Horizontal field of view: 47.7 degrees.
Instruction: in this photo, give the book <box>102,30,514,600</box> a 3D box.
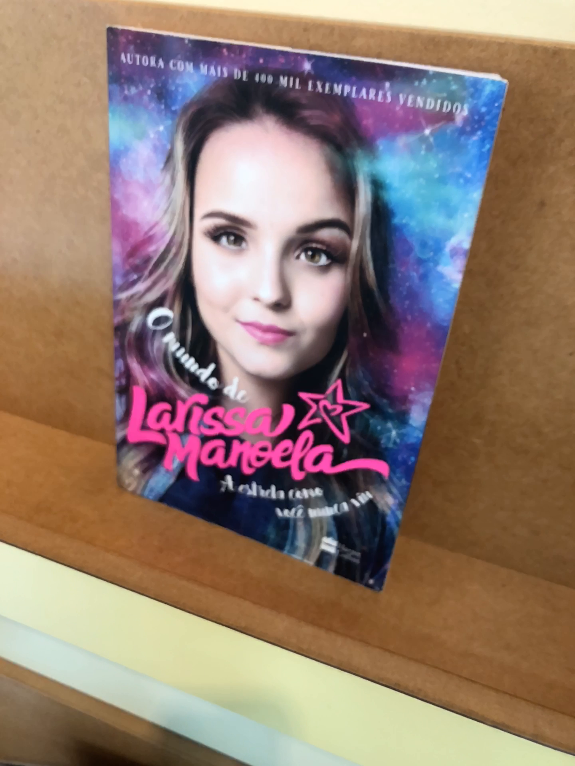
[{"bbox_3d":[-0.008,-0.020,0.282,0.150,0.221,0.020,17,30,19],"label":"book"}]
